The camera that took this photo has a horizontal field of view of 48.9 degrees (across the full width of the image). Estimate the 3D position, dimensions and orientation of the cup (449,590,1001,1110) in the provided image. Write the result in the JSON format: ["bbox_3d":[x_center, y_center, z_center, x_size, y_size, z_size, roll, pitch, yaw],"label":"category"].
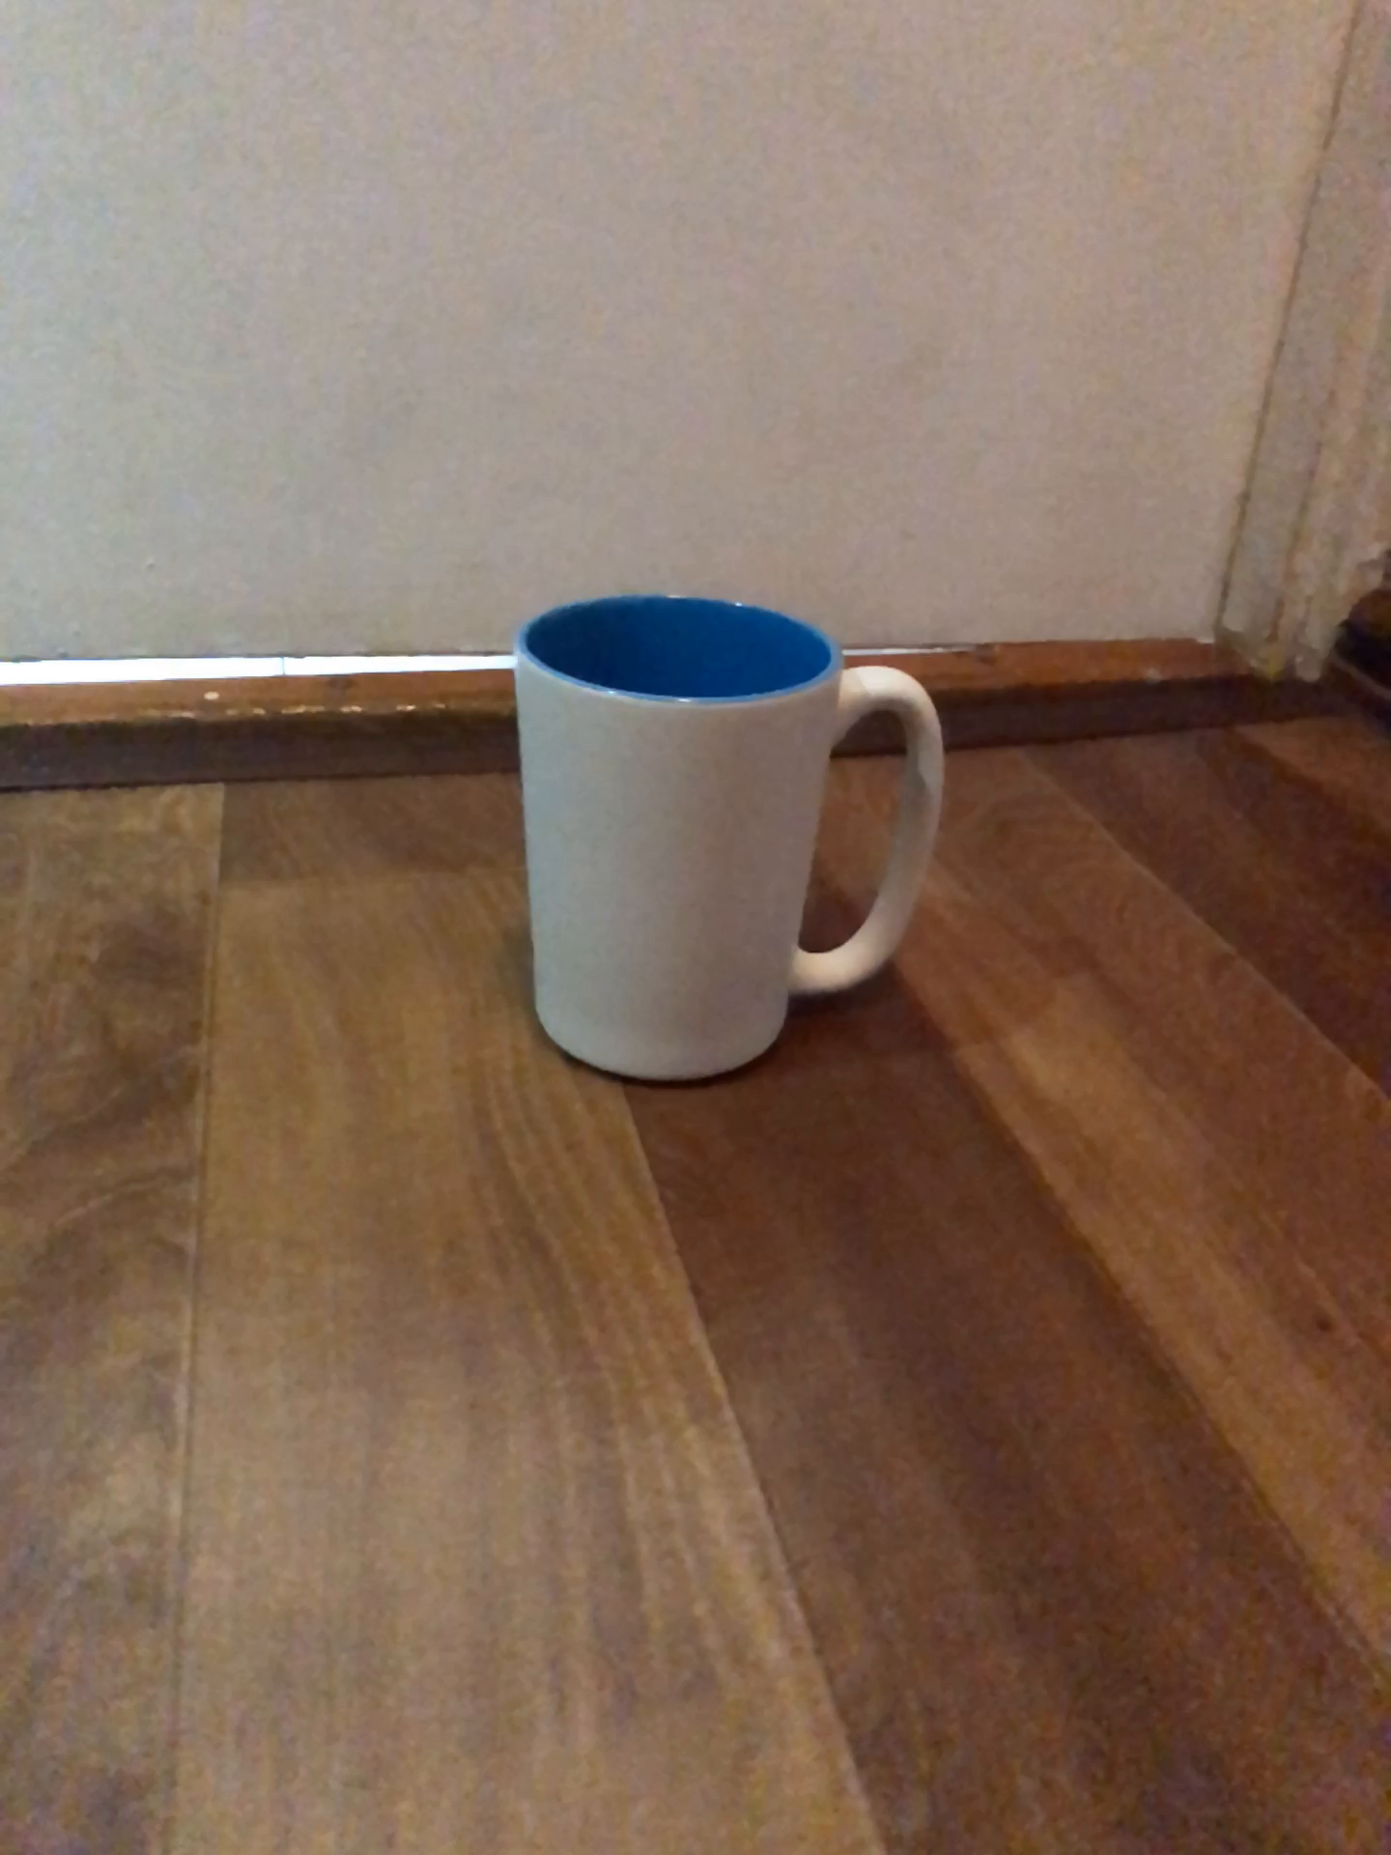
[{"bbox_3d":[0.000,-0.026,0.425,0.129,0.112,0.089,-2,29,-11],"label":"cup"}]
